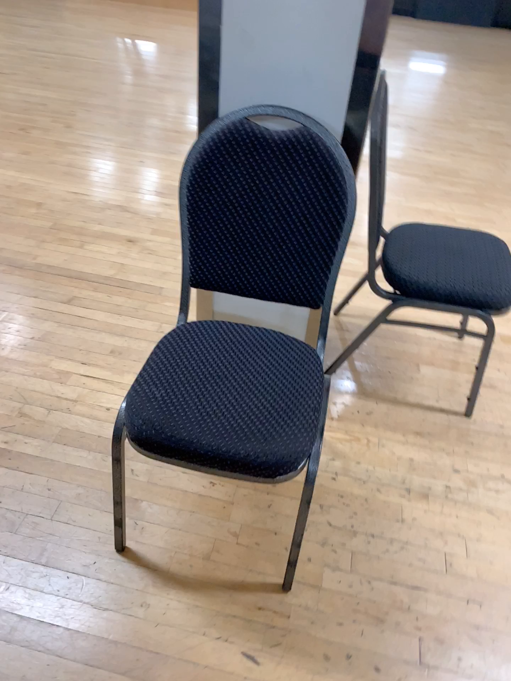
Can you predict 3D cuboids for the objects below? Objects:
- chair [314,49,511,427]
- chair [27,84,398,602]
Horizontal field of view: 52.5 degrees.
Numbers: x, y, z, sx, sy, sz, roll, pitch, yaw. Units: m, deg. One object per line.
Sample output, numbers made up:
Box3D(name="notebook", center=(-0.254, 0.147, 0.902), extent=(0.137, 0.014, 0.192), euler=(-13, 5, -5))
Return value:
Box3D(name="chair", center=(0.555, -0.278, 1.561), extent=(0.553, 0.921, 0.464), euler=(13, 41, 9))
Box3D(name="chair", center=(-0.040, 0.035, 1.137), extent=(0.461, 0.921, 0.556), euler=(12, 41, 7))
